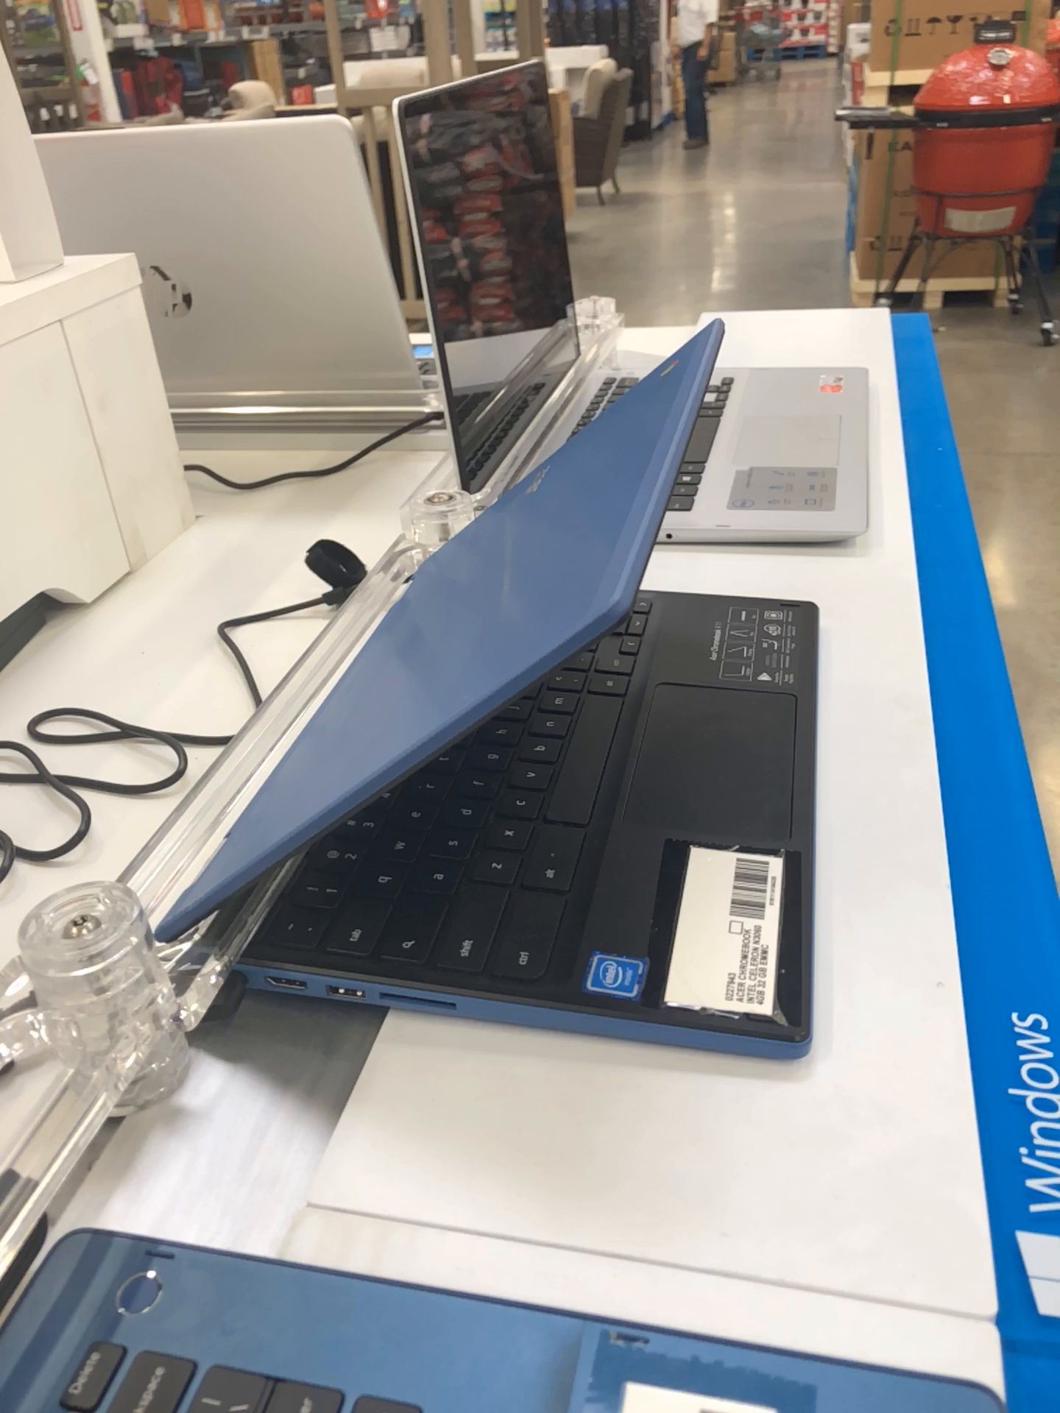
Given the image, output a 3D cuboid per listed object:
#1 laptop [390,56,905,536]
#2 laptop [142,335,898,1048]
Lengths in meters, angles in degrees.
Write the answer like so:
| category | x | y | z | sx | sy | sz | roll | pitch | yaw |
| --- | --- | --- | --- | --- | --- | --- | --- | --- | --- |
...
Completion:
| category | x | y | z | sx | sy | sz | roll | pitch | yaw |
| --- | --- | --- | --- | --- | --- | --- | --- | --- | --- |
| laptop | 0.099 | -0.288 | 0.757 | 0.245 | 0.216 | 0.357 | 5 | 32 | 12 |
| laptop | 0.021 | -0.037 | 0.429 | 0.184 | 0.128 | 0.281 | 3 | 31 | 10 |
